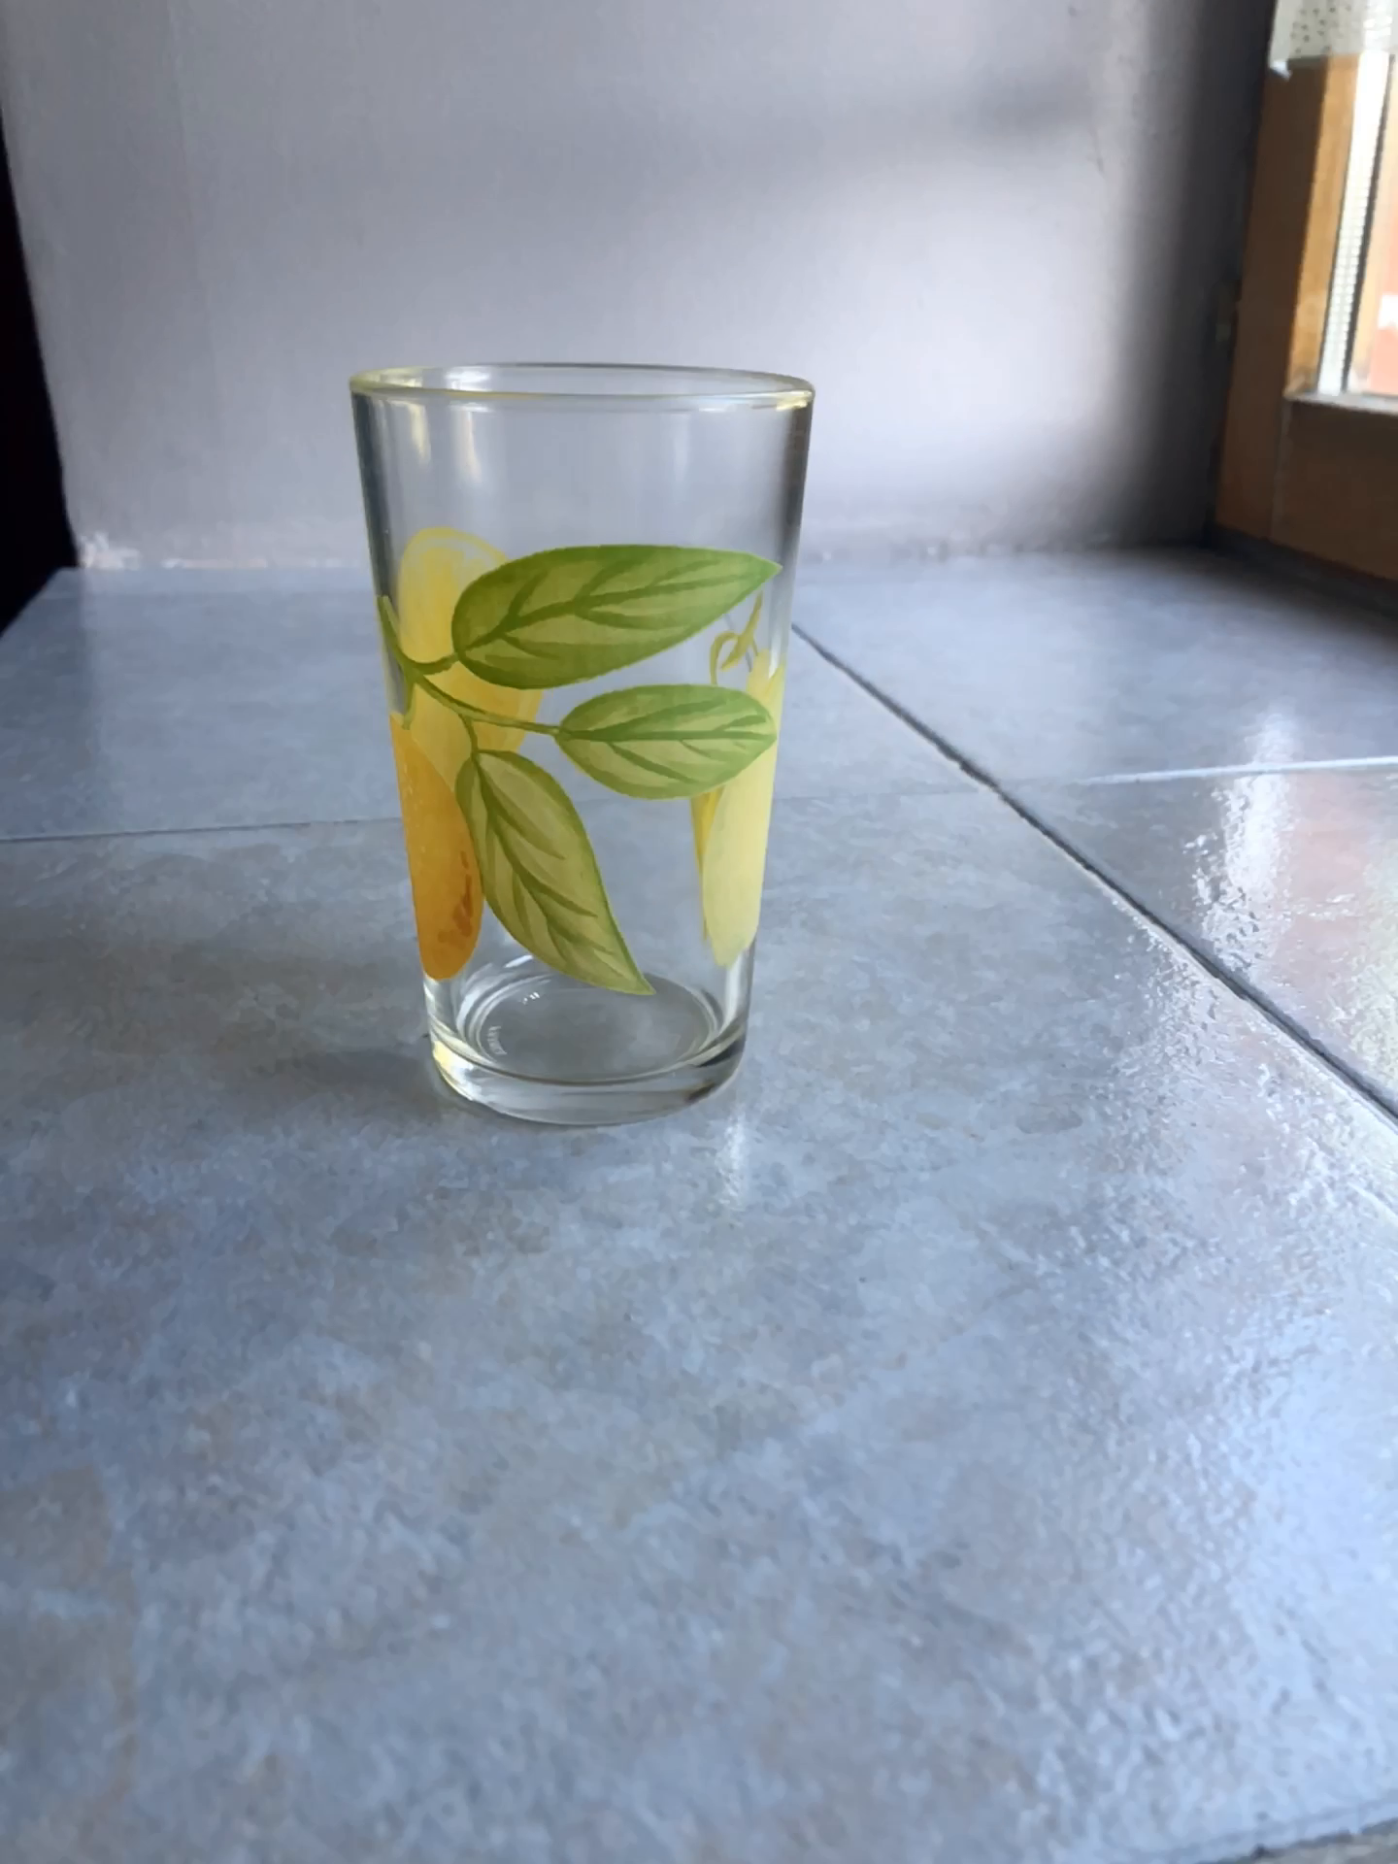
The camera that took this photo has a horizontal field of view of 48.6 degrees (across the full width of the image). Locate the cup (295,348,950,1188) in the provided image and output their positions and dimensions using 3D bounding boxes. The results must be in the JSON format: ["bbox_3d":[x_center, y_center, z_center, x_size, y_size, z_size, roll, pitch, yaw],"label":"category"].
[{"bbox_3d":[-0.010,-0.033,0.254,0.070,0.112,0.070,-1,23,0],"label":"cup"}]
